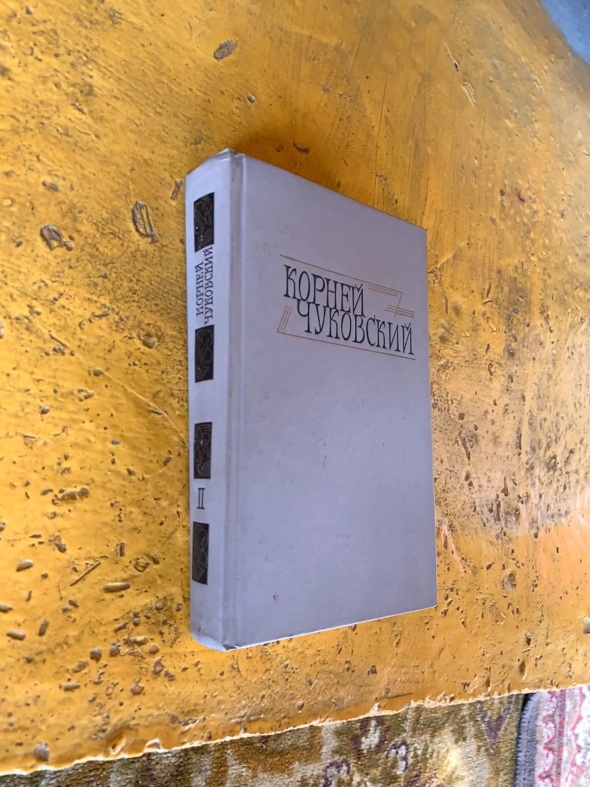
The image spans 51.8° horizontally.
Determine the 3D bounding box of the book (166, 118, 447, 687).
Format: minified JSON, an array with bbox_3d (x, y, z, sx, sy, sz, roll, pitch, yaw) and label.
[{"bbox_3d":[0.012,0.004,0.285,0.139,0.031,0.216,6,80,-39],"label":"book"}]
